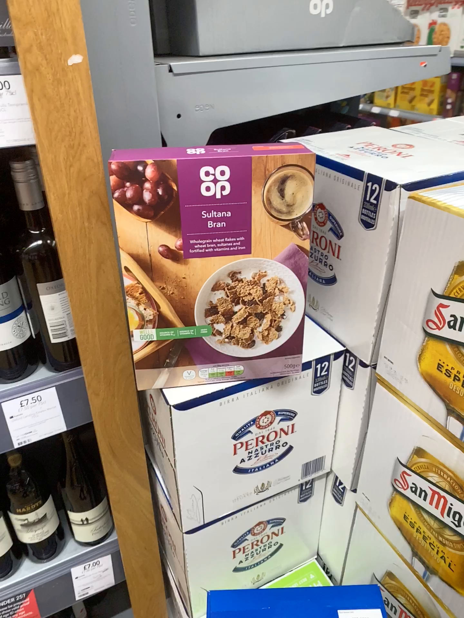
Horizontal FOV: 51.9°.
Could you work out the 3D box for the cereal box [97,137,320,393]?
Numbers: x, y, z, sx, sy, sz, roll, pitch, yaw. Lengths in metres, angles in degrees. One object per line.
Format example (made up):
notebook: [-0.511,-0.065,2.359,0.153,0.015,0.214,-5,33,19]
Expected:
cereal box: [-0.020,-0.042,0.520,0.200,0.258,0.071,-5,29,-6]
